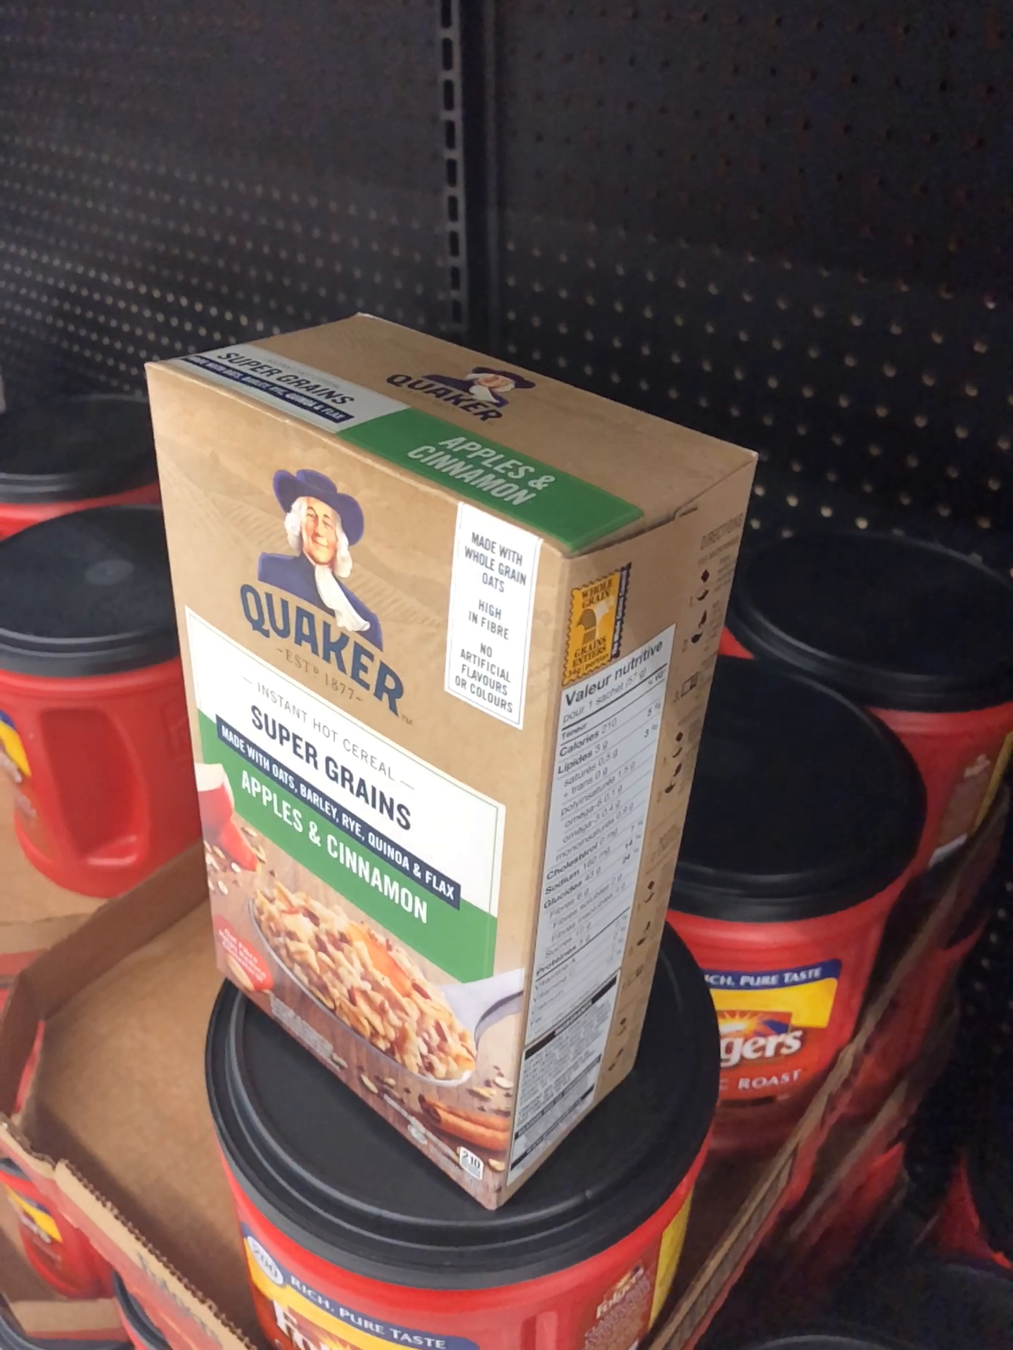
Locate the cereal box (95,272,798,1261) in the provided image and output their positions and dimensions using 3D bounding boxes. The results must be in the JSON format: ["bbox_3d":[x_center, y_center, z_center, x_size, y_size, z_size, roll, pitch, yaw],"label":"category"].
[{"bbox_3d":[-0.021,0.022,0.282,0.140,0.199,0.060,29,43,34],"label":"cereal box"}]
